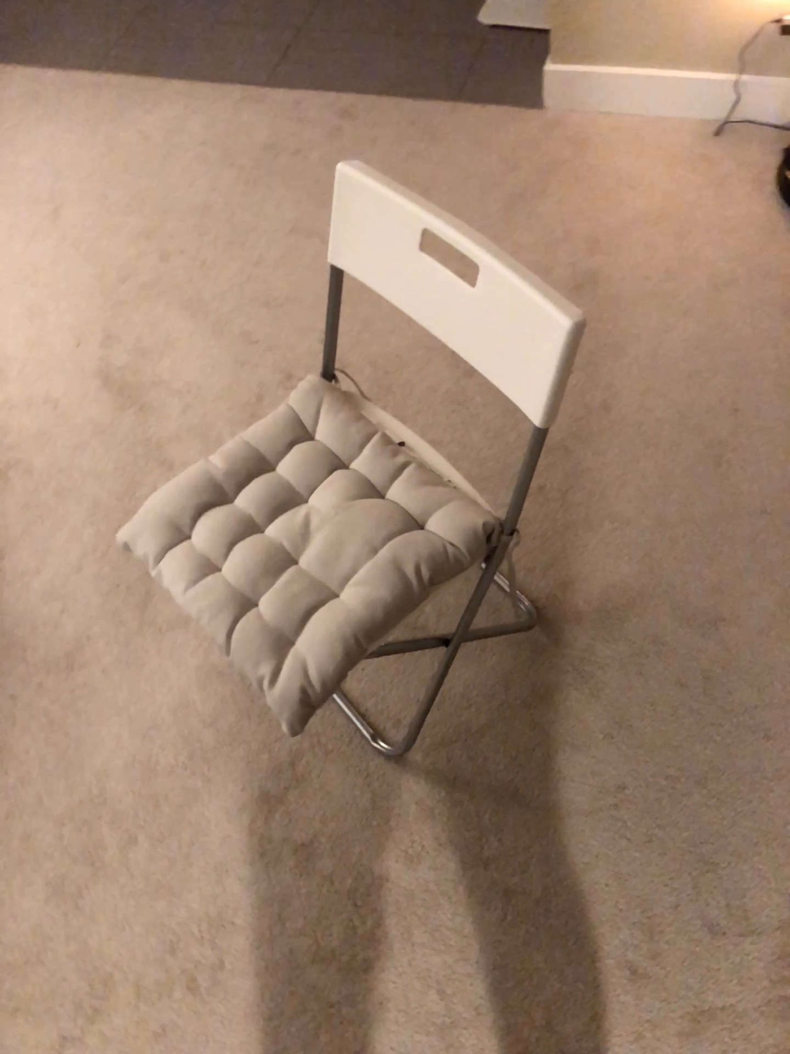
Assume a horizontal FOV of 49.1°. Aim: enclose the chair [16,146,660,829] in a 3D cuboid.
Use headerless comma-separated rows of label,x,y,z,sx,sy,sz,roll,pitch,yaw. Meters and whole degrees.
chair,-0.037,-0.024,1.256,0.541,0.667,0.511,-39,60,-15
